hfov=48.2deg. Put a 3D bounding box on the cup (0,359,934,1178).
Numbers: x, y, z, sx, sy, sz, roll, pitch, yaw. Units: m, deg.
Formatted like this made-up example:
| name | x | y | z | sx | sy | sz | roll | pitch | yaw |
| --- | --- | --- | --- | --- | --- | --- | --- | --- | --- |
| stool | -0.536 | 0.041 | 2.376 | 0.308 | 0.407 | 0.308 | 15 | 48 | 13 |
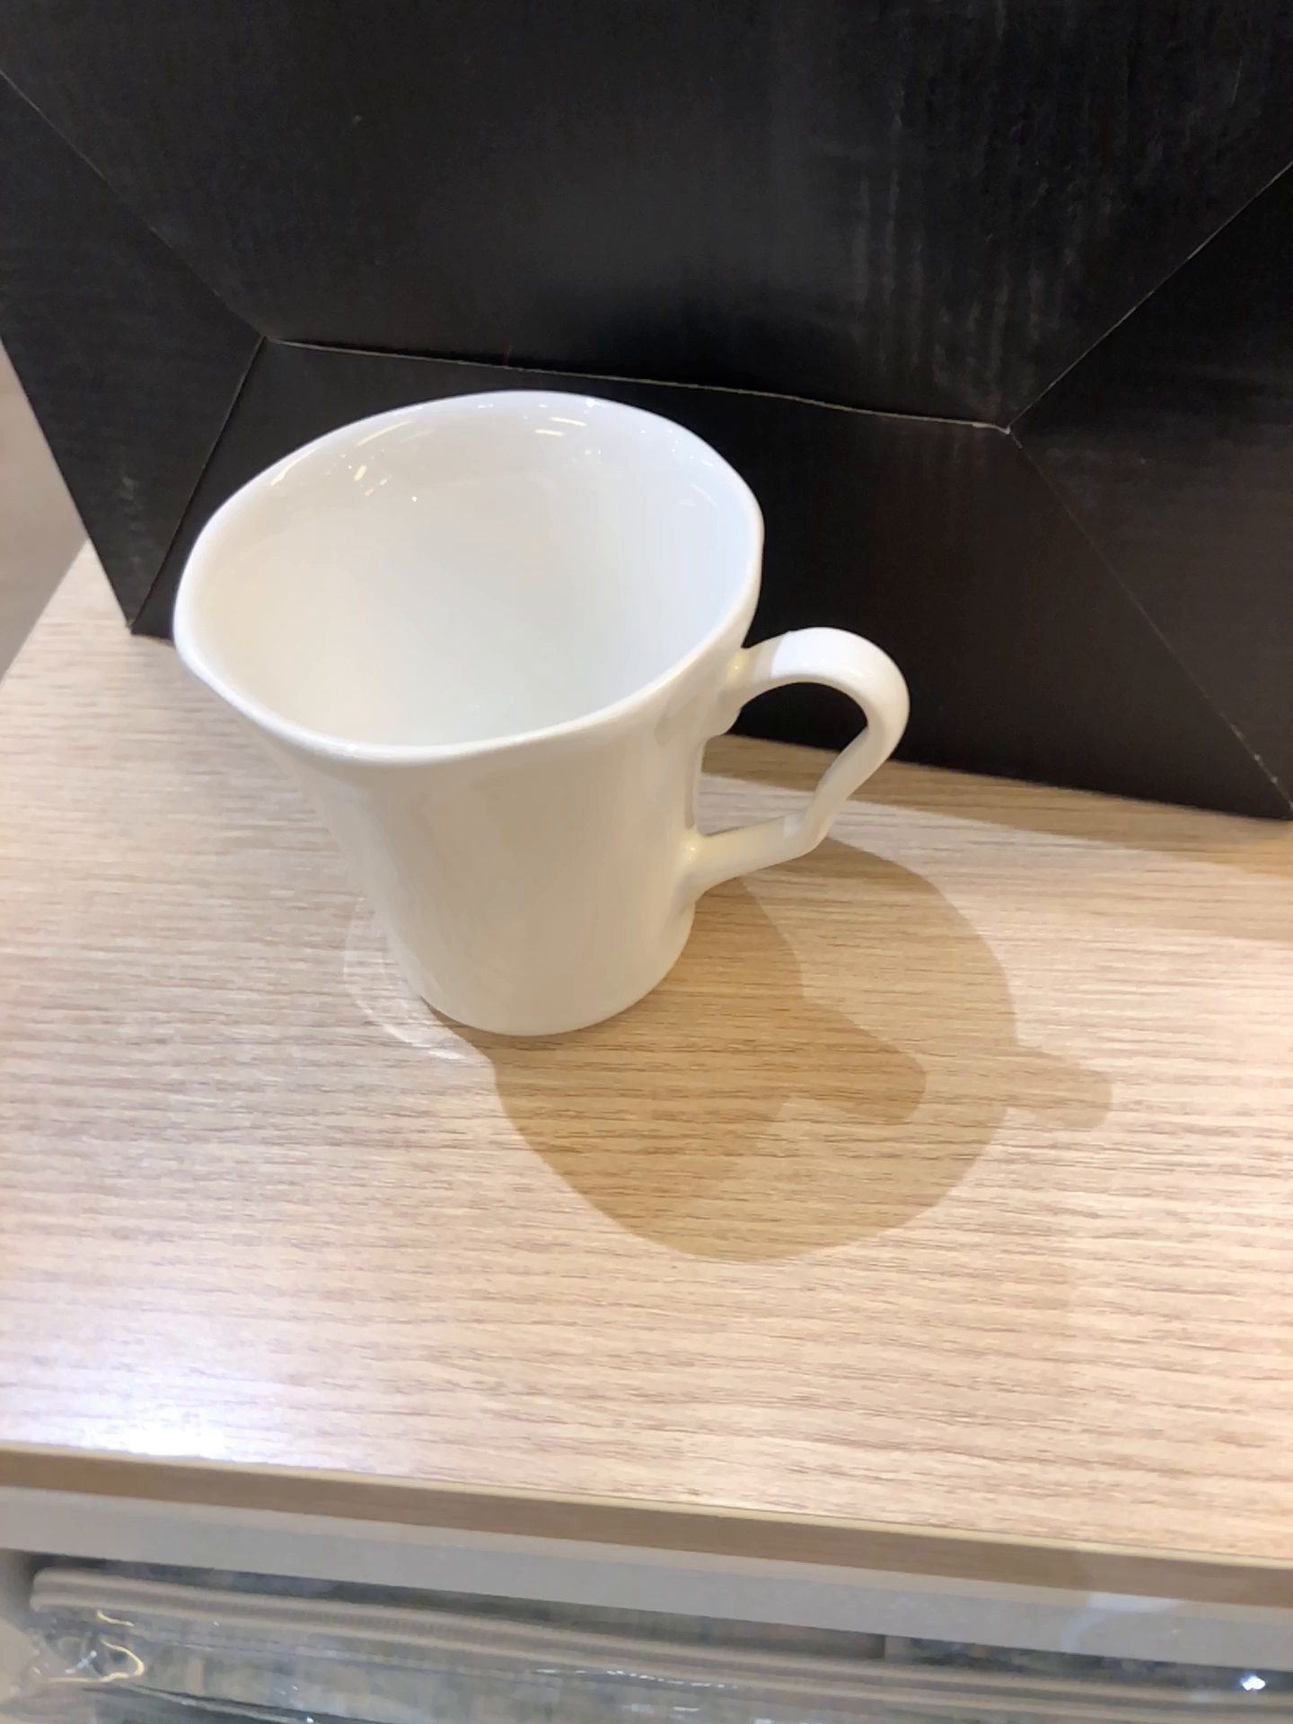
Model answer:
| name | x | y | z | sx | sy | sz | roll | pitch | yaw |
| --- | --- | --- | --- | --- | --- | --- | --- | --- | --- |
| cup | -0.019 | -0.017 | 0.223 | 0.110 | 0.079 | 0.081 | 8 | 50 | 13 |
